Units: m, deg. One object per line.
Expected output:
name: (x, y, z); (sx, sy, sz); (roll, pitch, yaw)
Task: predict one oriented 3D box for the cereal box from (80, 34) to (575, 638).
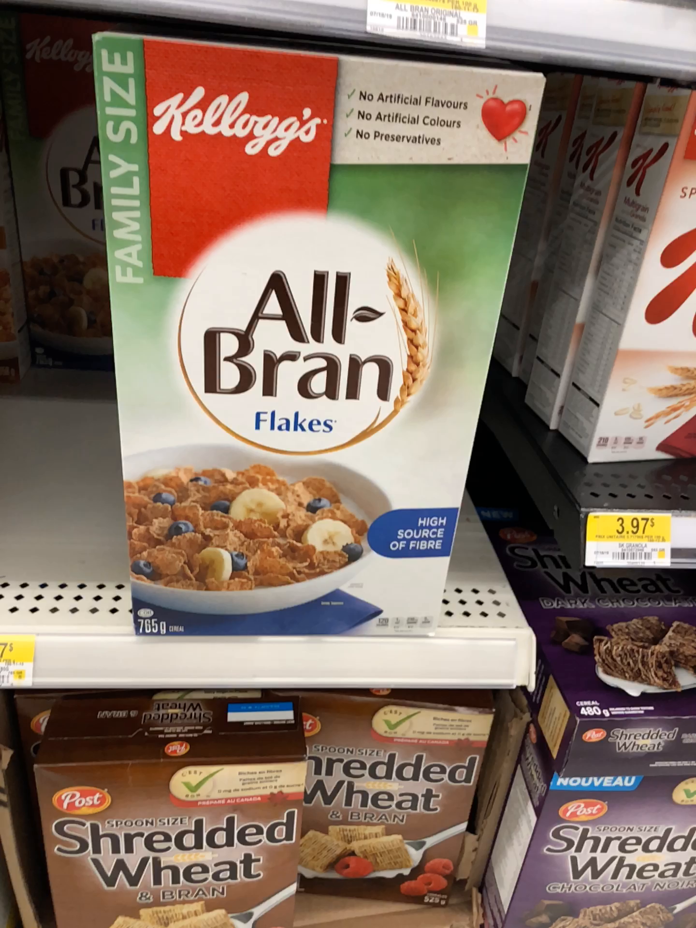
cereal box: (-0.023, -0.050, 0.435); (0.210, 0.317, 0.081); (2, 29, -8)
